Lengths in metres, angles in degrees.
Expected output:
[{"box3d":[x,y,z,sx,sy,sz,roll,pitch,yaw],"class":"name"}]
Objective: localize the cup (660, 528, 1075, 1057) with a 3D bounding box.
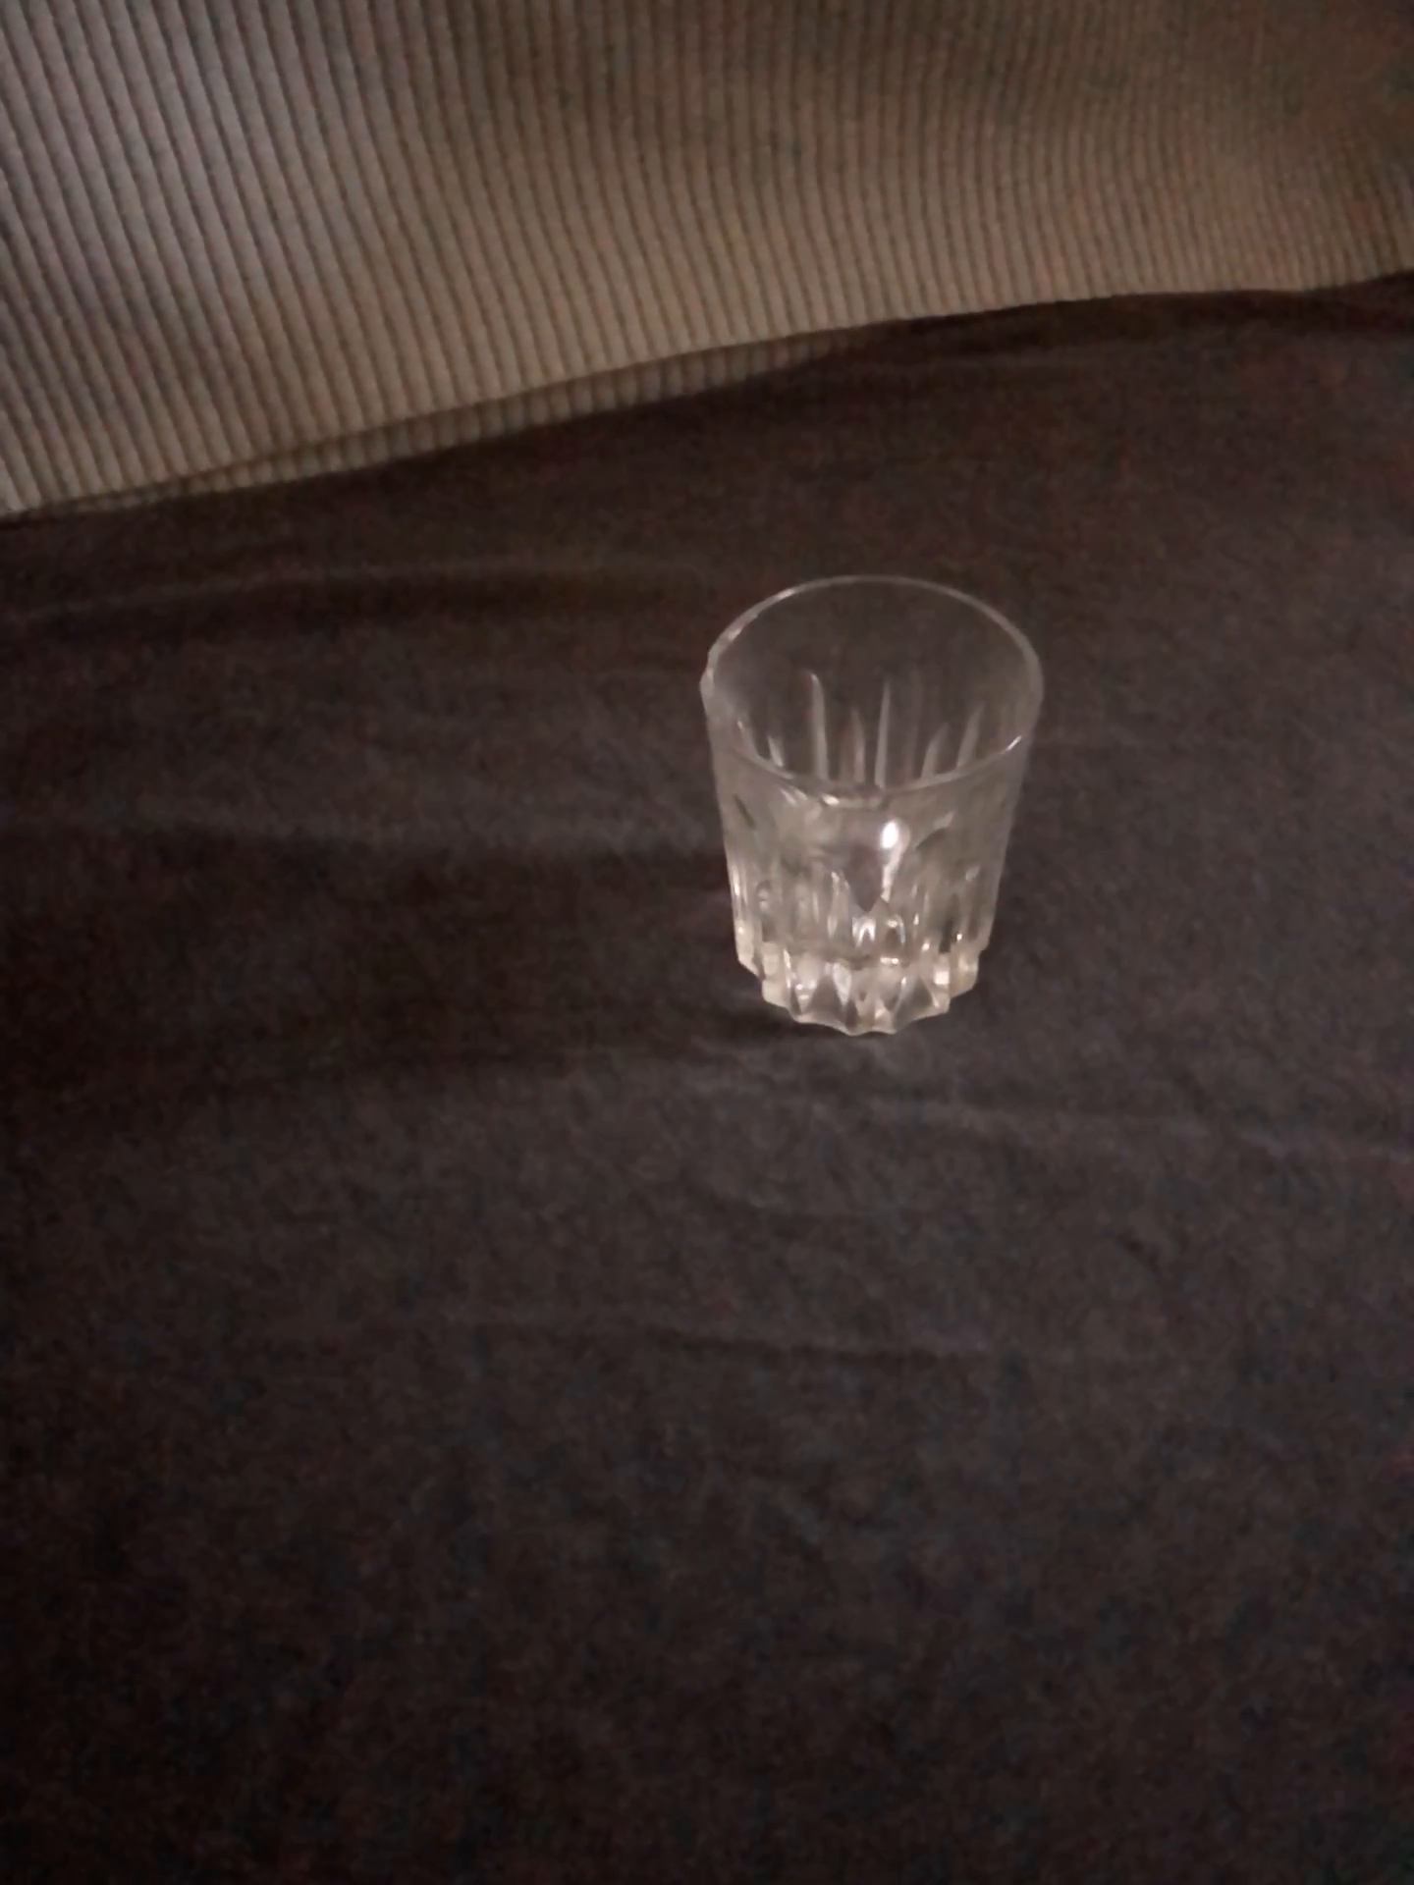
[{"box3d":[0.026,-0.026,0.291,0.059,0.078,0.048,-8,47,-6],"class":"cup"}]
